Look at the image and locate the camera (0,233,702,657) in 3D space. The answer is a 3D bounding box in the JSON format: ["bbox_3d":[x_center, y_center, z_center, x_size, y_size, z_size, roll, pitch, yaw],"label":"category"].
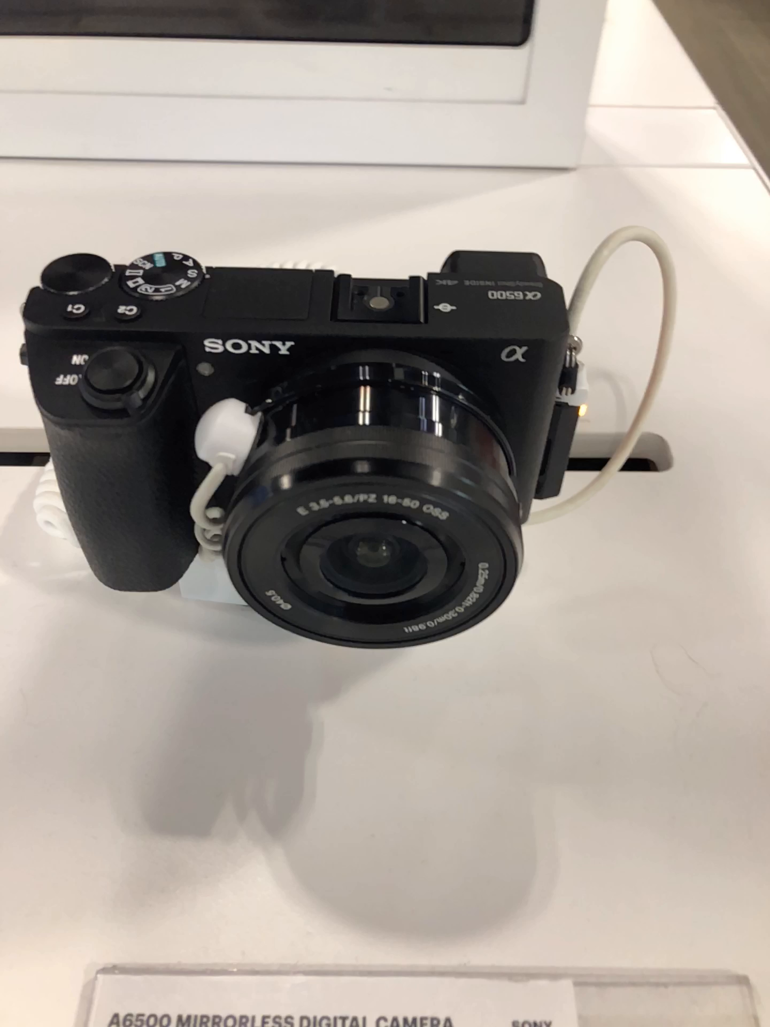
[{"bbox_3d":[-0.014,-0.015,0.203,0.140,0.070,0.070,0,47,-3],"label":"camera"}]
